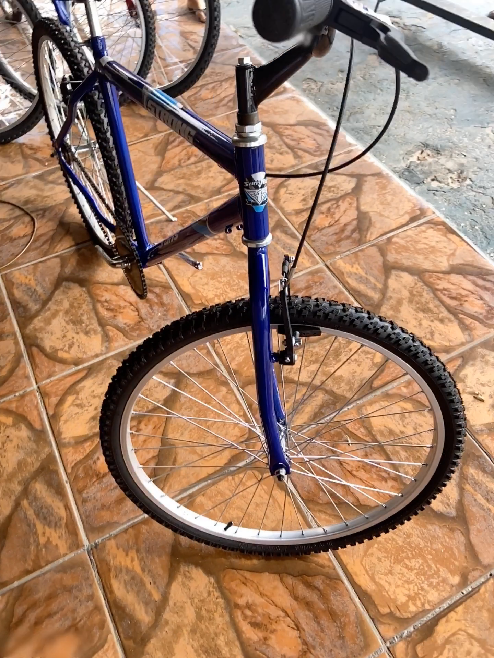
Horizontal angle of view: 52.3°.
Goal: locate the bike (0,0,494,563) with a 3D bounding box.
[{"bbox_3d":[-0.073,-0.373,1.134,0.573,1.014,1.528,-36,62,-20],"label":"bike"}]
